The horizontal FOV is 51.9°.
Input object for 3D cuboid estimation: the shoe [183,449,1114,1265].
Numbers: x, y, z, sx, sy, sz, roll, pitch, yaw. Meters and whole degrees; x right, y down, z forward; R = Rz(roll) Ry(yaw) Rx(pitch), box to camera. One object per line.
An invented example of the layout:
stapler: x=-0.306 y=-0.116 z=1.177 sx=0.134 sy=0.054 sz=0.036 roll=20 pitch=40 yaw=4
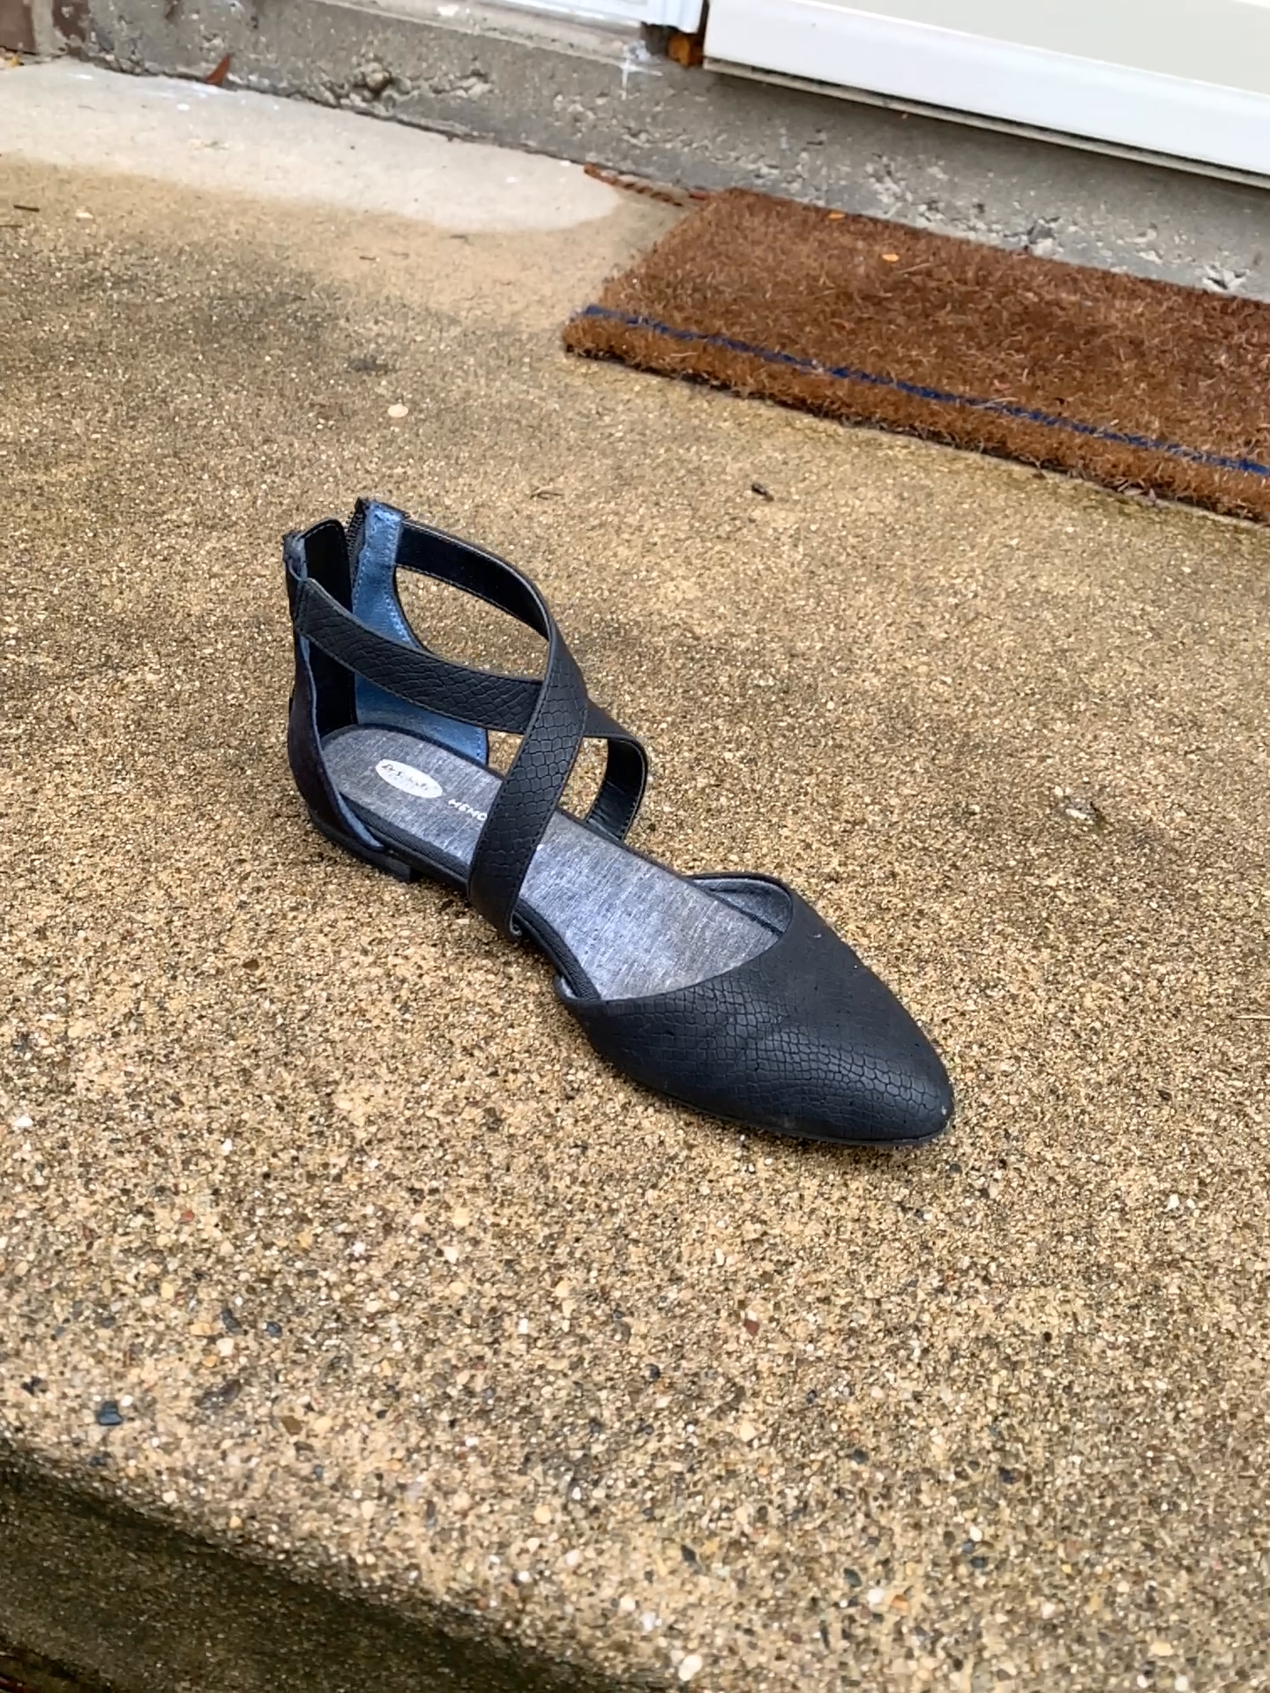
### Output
shoe: x=-0.011 y=-0.012 z=0.407 sx=0.263 sy=0.112 sz=0.097 roll=31 pitch=43 yaw=24
